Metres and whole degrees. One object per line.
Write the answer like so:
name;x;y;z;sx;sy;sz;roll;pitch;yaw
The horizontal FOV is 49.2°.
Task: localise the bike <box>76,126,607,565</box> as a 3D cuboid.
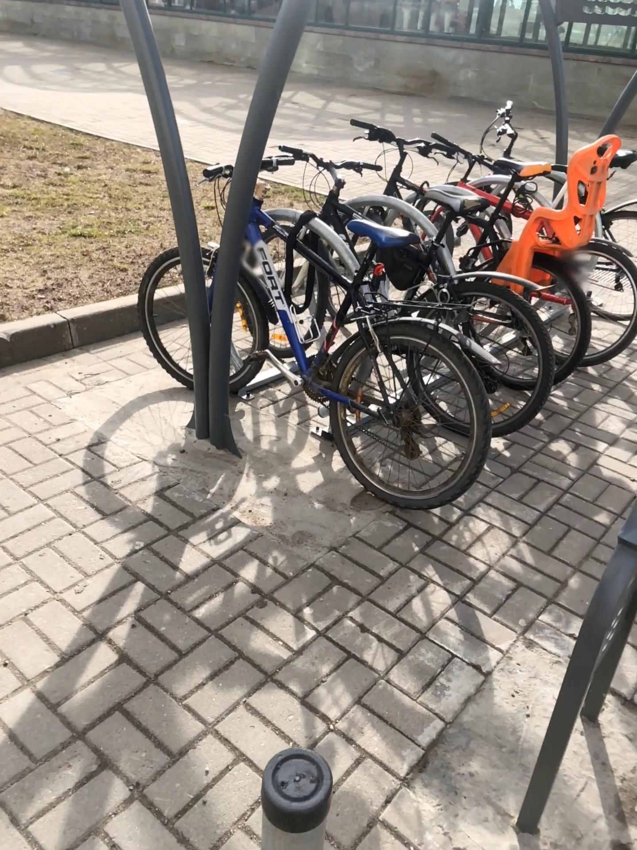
bike;-0.039;-0.408;2.516;1.662;0.959;0.628;26;36;30
